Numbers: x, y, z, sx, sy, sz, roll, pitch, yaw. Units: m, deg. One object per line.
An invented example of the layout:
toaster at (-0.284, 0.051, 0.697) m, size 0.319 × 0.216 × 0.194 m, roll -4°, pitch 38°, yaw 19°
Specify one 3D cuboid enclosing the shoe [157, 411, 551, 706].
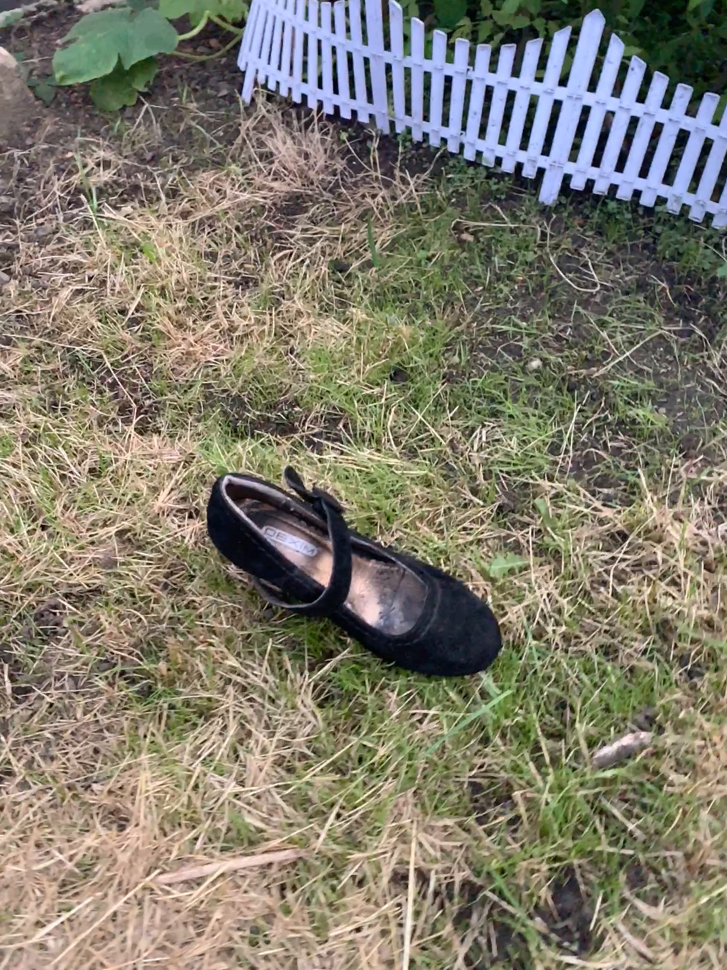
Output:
shoe at (-0.005, 0.050, 0.554) m, size 0.250 × 0.109 × 0.111 m, roll 16°, pitch 54°, yaw 16°
